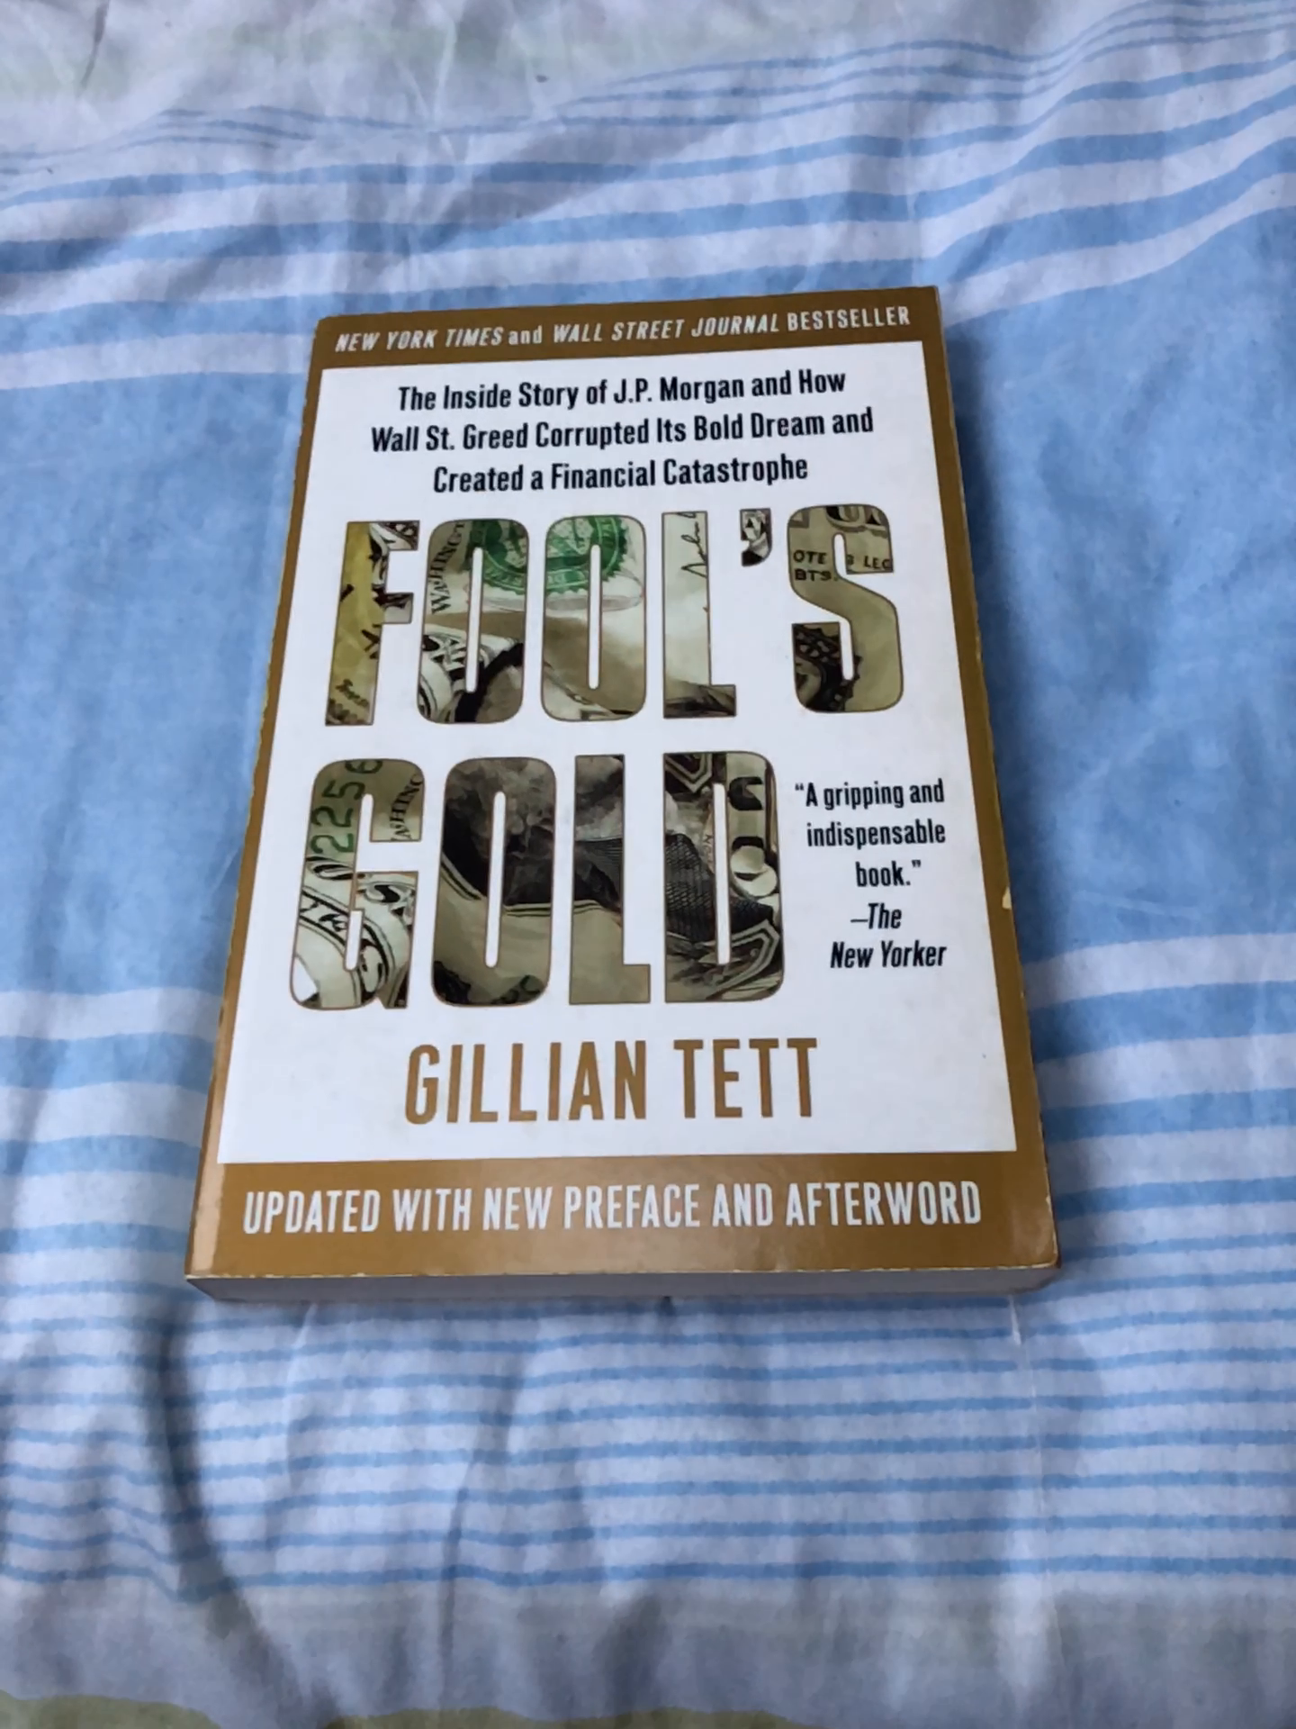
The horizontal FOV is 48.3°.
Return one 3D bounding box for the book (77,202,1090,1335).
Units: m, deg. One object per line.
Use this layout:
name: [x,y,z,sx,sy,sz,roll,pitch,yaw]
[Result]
book: [-0.010,-0.031,0.284,0.150,0.040,0.230,-2,62,4]
